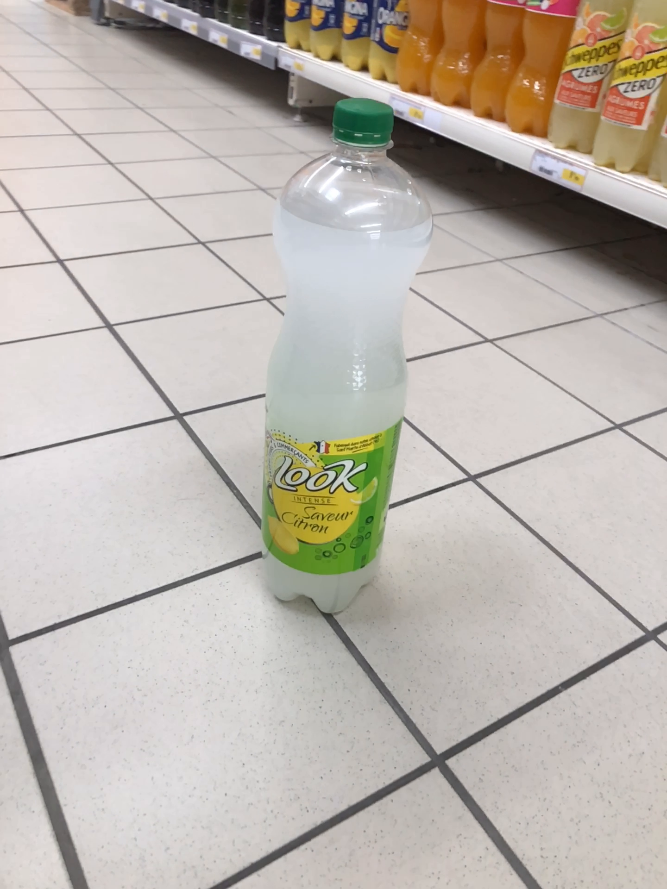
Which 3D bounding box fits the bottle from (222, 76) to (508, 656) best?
[{"bbox_3d":[0.007,-0.033,0.429,0.100,0.308,0.101,5,34,-3],"label":"bottle"}]
